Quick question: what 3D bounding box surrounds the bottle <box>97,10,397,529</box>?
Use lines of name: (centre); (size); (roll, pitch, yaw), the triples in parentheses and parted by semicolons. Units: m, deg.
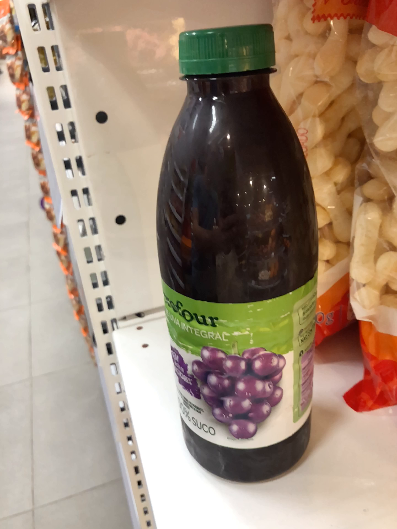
bottle: (0.026, 0.009, 0.222); (0.080, 0.228, 0.091); (-22, 33, -28)
